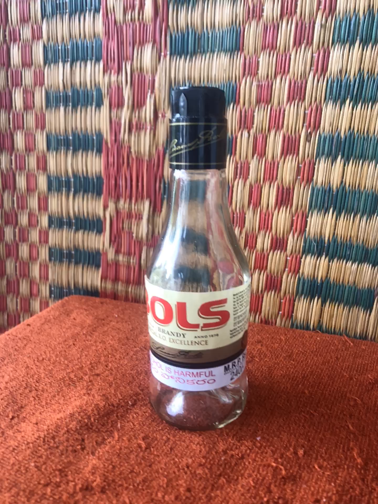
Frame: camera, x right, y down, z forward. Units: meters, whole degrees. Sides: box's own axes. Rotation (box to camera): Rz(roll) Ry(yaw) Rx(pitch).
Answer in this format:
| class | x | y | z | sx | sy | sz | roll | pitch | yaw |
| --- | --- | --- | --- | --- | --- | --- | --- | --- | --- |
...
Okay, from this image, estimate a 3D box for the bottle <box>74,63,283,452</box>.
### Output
| class | x | y | z | sx | sy | sz | roll | pitch | yaw |
| --- | --- | --- | --- | --- | --- | --- | --- | --- | --- |
| bottle | -0.002 | 0.000 | 0.205 | 0.070 | 0.159 | 0.060 | 8 | 19 | 25 |
